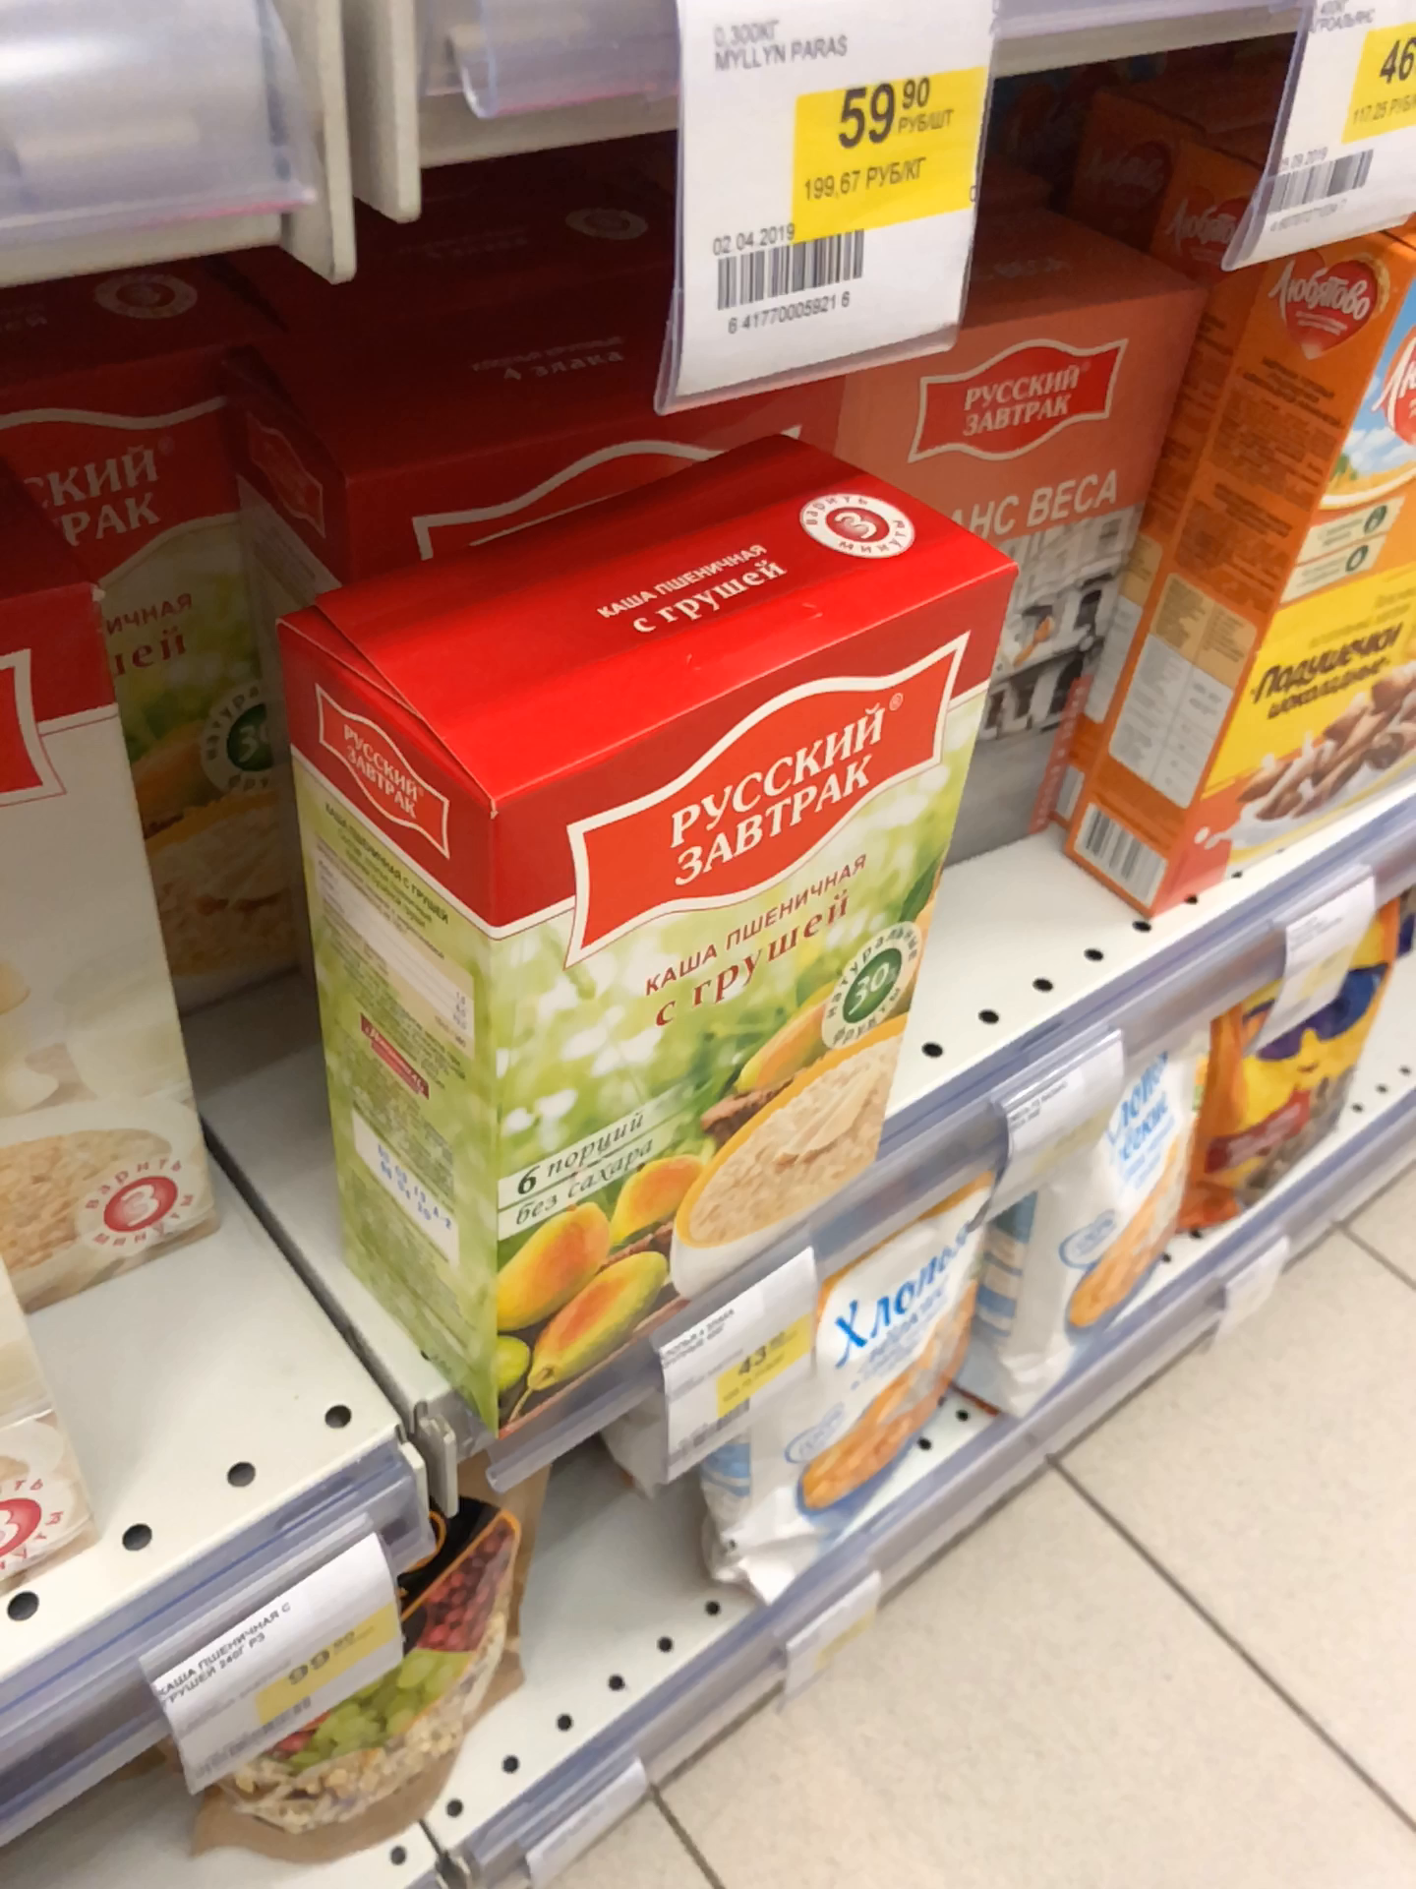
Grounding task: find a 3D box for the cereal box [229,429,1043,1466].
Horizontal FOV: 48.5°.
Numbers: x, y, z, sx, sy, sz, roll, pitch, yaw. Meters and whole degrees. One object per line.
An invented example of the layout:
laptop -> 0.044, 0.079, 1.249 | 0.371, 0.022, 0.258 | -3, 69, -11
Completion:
cereal box -> -0.015, 0.004, 0.346 | 0.140, 0.189, 0.060 | -29, 53, -32
